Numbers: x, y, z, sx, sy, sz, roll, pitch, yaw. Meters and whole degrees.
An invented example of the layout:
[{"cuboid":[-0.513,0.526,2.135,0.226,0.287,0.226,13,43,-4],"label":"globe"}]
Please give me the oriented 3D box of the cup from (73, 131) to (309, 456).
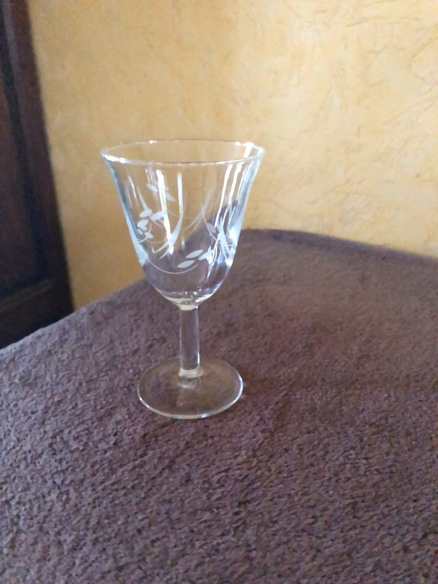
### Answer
[{"cuboid":[-0.016,-0.008,0.283,0.090,0.149,0.090,-1,24,0],"label":"cup"}]
